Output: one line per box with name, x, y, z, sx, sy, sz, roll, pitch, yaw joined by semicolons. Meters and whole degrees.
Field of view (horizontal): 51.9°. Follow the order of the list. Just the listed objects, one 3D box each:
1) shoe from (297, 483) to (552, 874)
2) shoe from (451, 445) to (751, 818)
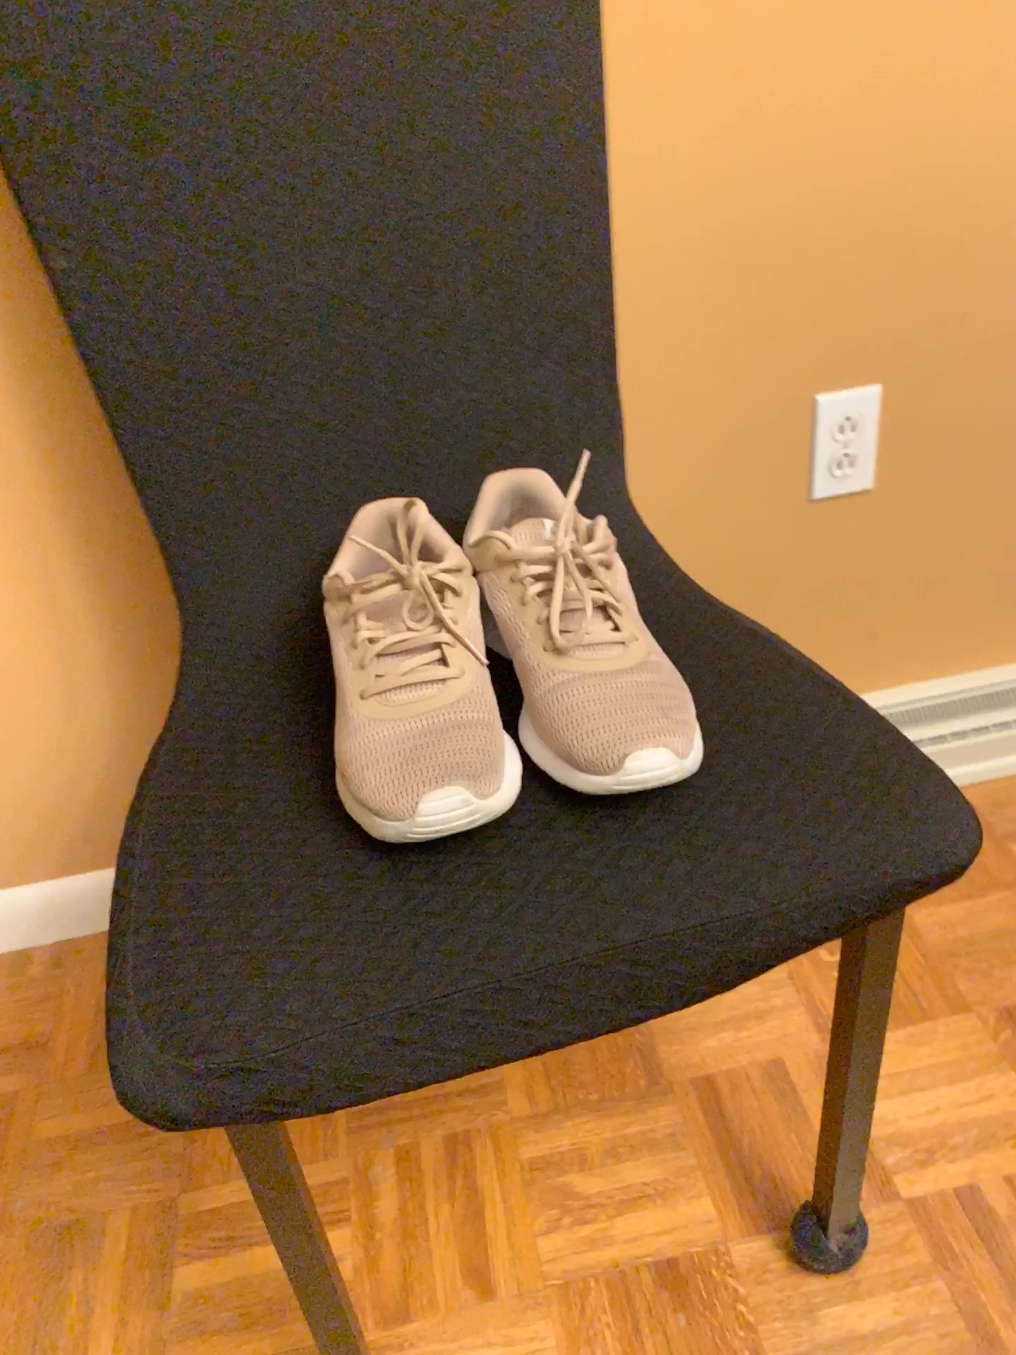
shoe;-0.061;-0.017;0.642;0.110;0.089;0.272;-11;34;-6
shoe;0.045;-0.044;0.637;0.110;0.089;0.262;-11;34;-6
